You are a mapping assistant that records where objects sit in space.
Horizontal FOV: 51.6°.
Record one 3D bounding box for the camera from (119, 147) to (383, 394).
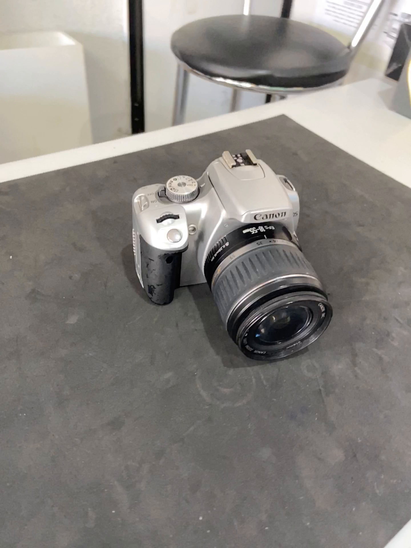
[{"bbox_3d":[0.017,-0.014,0.297,0.120,0.080,0.141,-12,45,-18],"label":"camera"}]
